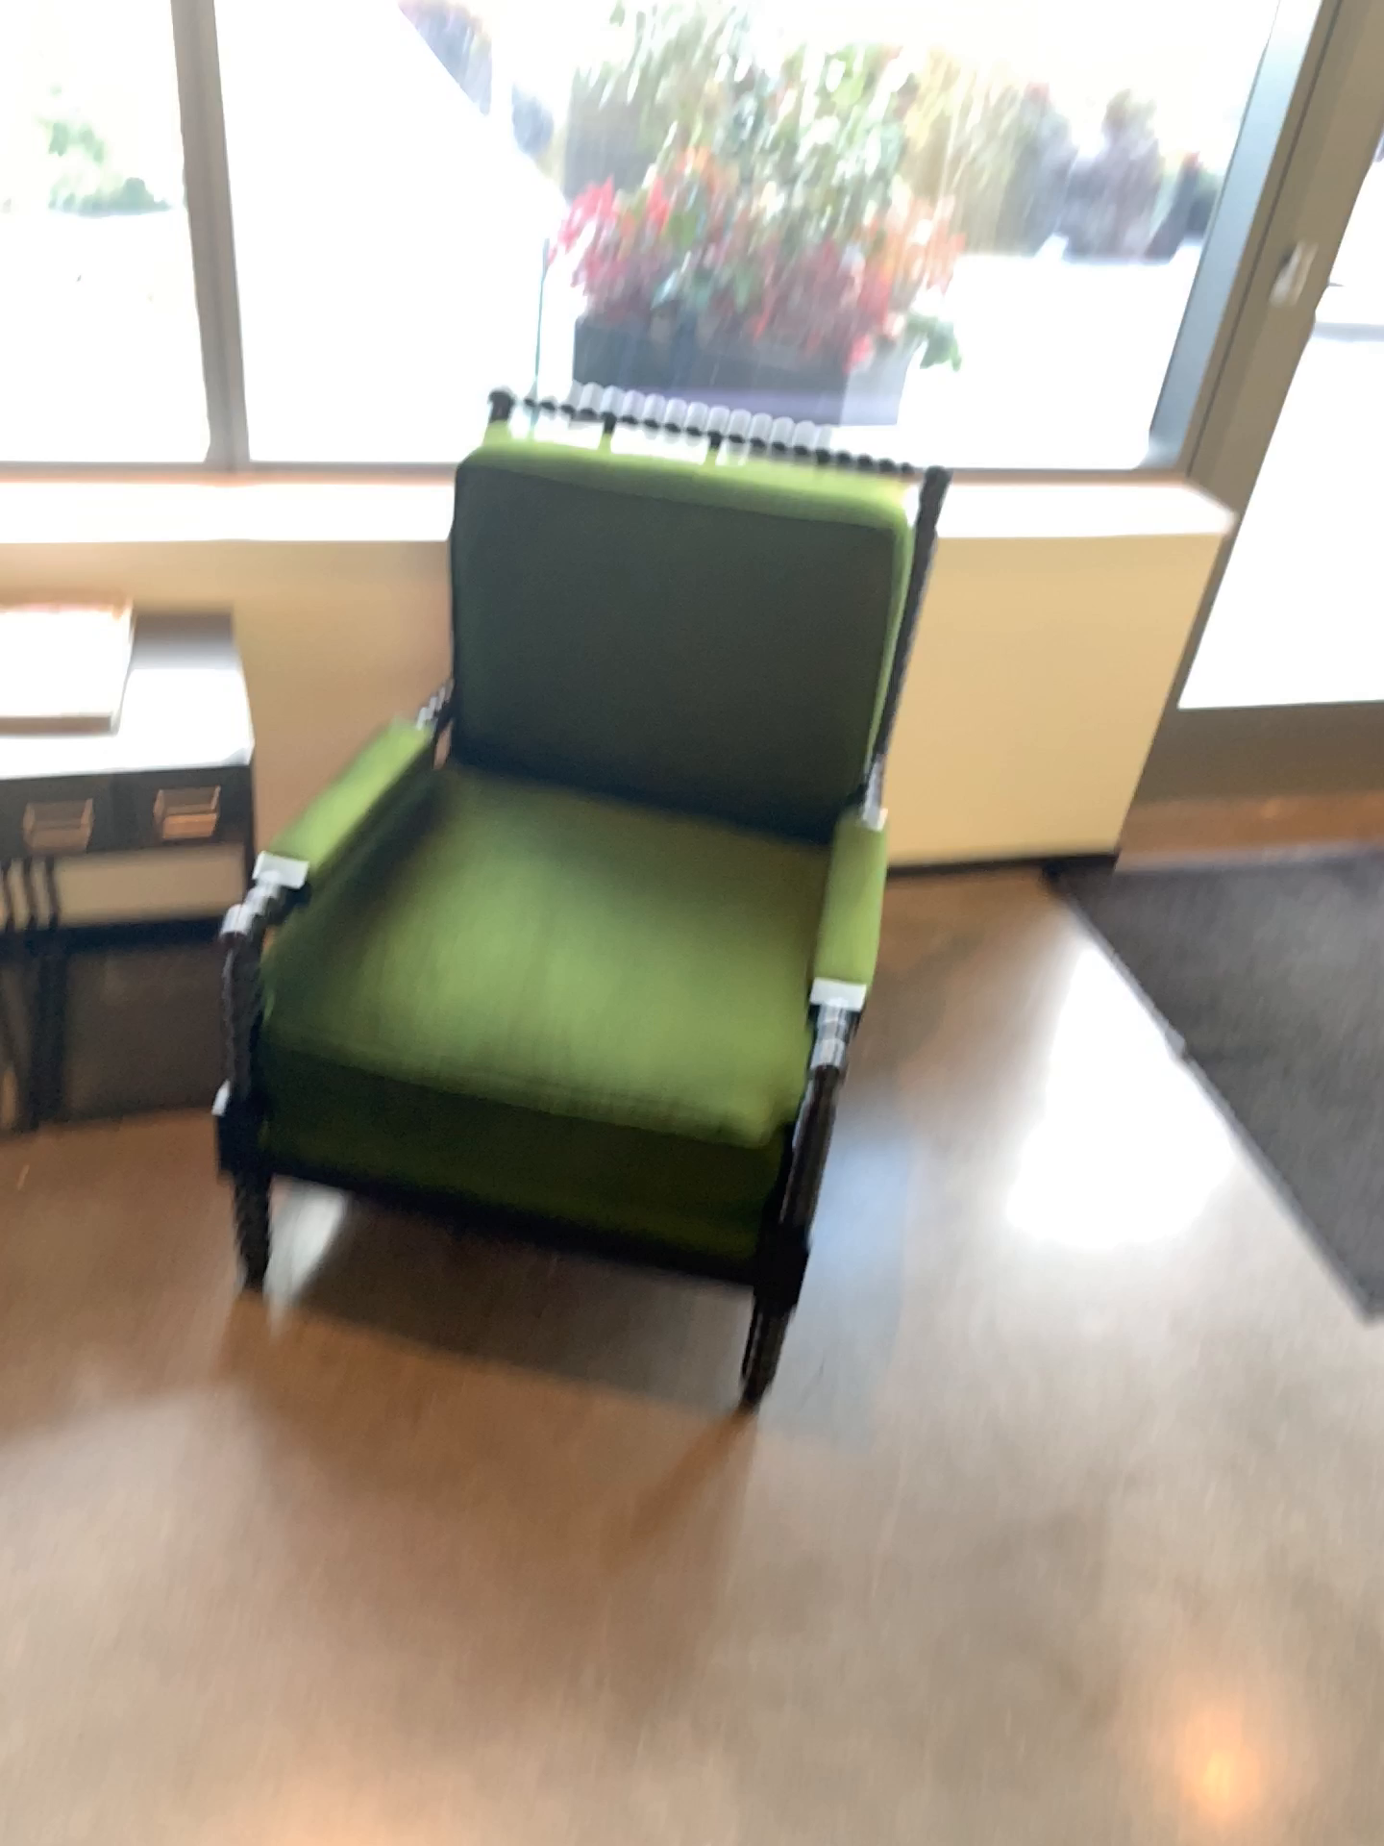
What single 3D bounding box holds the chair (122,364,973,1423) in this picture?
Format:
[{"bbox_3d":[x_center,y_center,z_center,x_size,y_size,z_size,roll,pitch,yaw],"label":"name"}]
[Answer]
[{"bbox_3d":[-0.128,-0.083,1.972,0.761,0.983,0.926,13,37,6],"label":"chair"}]
